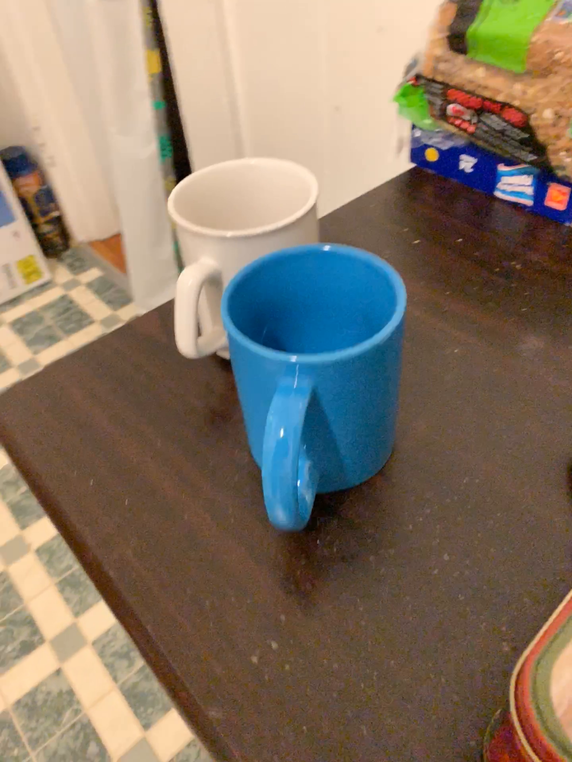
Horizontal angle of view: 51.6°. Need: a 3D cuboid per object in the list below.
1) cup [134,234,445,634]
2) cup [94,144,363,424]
[{"bbox_3d":[0.015,0.017,0.274,0.090,0.099,0.141,9,48,15],"label":"cup"},{"bbox_3d":[-0.023,-0.061,0.342,0.090,0.090,0.120,20,52,24],"label":"cup"}]
